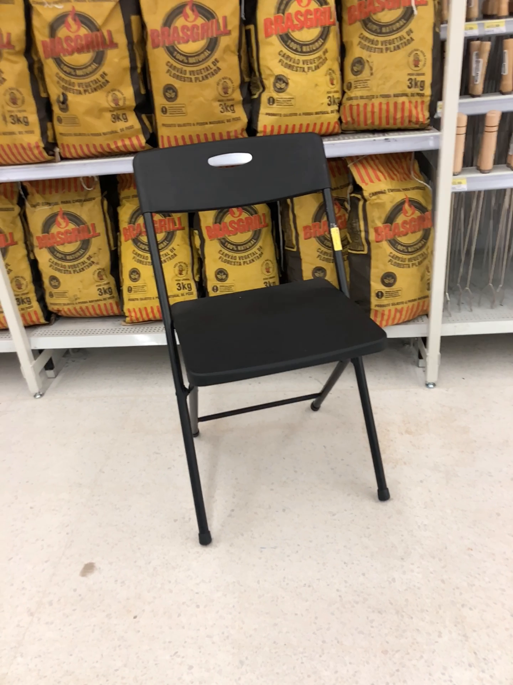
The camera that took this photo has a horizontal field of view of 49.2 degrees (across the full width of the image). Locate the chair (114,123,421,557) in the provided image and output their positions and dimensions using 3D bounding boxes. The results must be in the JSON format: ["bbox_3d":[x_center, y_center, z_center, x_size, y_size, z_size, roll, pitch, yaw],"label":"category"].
[{"bbox_3d":[0.007,-0.034,1.180,0.460,0.715,0.453,-11,28,-10],"label":"chair"}]
